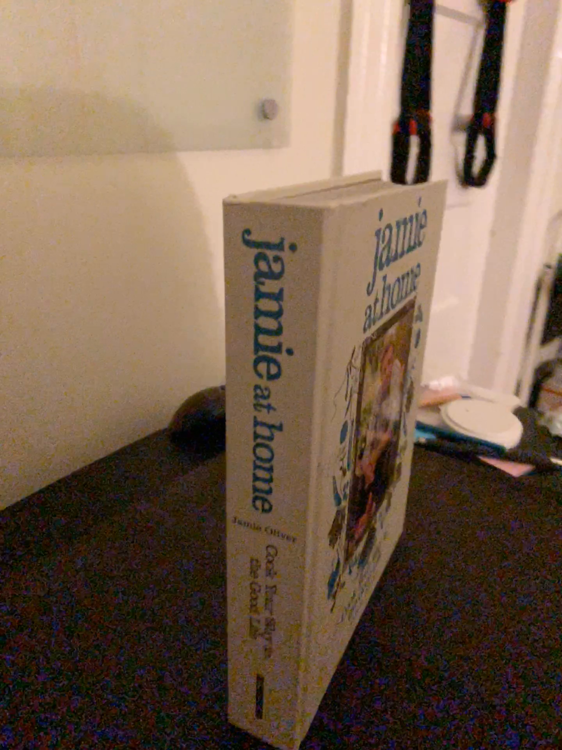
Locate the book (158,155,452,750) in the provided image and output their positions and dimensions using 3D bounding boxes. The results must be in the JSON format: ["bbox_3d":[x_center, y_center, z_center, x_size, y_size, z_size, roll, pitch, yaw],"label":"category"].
[{"bbox_3d":[0.026,0.028,0.316,0.050,0.269,0.211,12,25,24],"label":"book"}]
